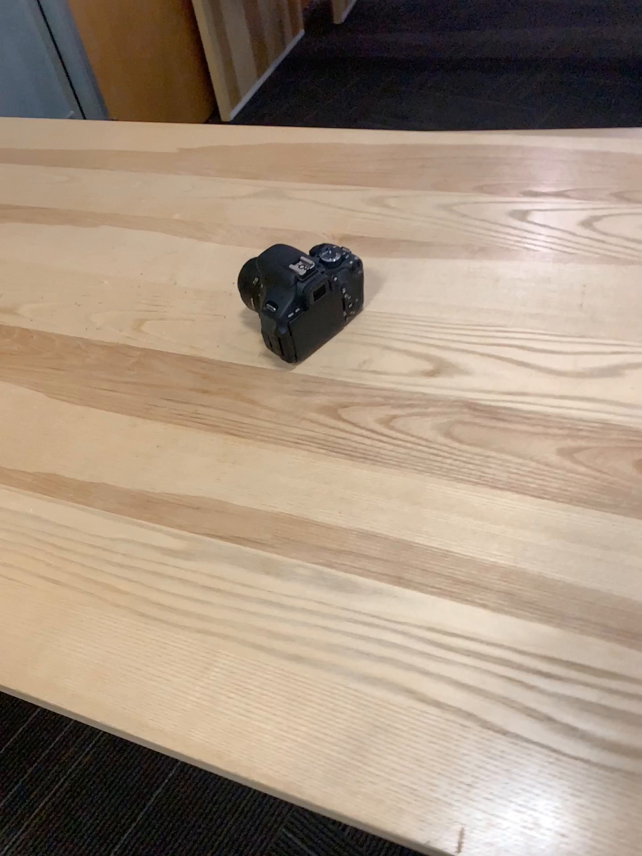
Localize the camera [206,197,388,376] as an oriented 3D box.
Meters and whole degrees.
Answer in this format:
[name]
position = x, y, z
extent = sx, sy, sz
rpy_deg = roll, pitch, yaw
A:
[camera]
position = -0.021, -0.159, 0.720
extent = 0.120, 0.100, 0.145
rpy_deg = 32, 60, 32
